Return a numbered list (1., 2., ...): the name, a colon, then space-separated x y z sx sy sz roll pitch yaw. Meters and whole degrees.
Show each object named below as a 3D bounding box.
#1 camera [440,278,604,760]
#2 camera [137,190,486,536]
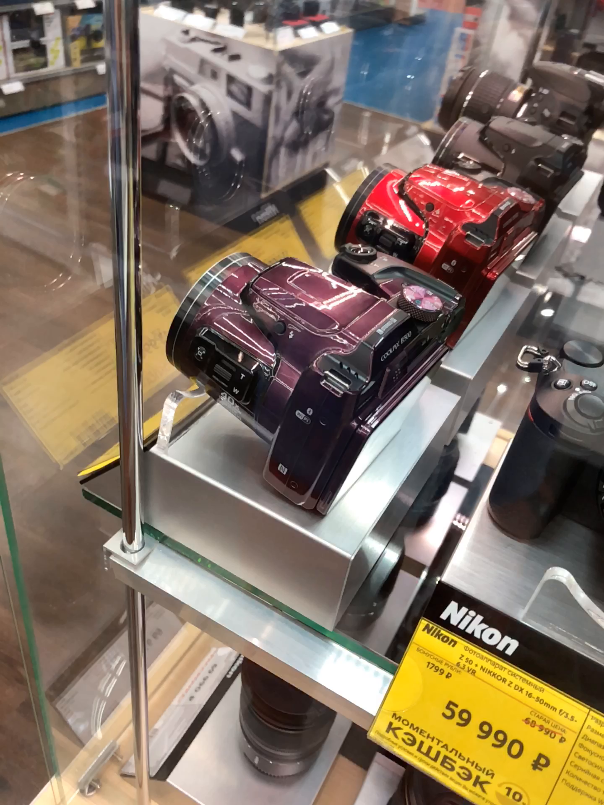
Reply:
1. camera: 0.143 0.032 0.252 0.133 0.084 0.100 27 42 21
2. camera: 0.004 -0.025 0.297 0.100 0.080 0.110 27 42 20
